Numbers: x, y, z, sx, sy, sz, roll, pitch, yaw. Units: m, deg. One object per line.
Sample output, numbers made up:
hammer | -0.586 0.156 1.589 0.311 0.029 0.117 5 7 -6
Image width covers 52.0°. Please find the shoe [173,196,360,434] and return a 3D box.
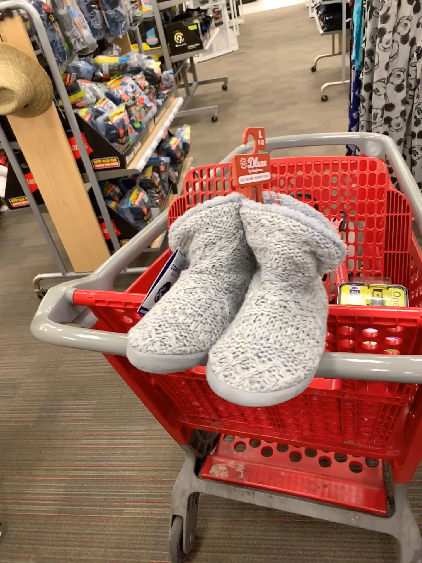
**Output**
shoe | 0.075 0.013 0.450 0.110 0.119 0.231 8 35 26

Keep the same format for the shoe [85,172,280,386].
shoe | -0.012 -0.023 0.531 0.110 0.139 0.251 8 35 26
